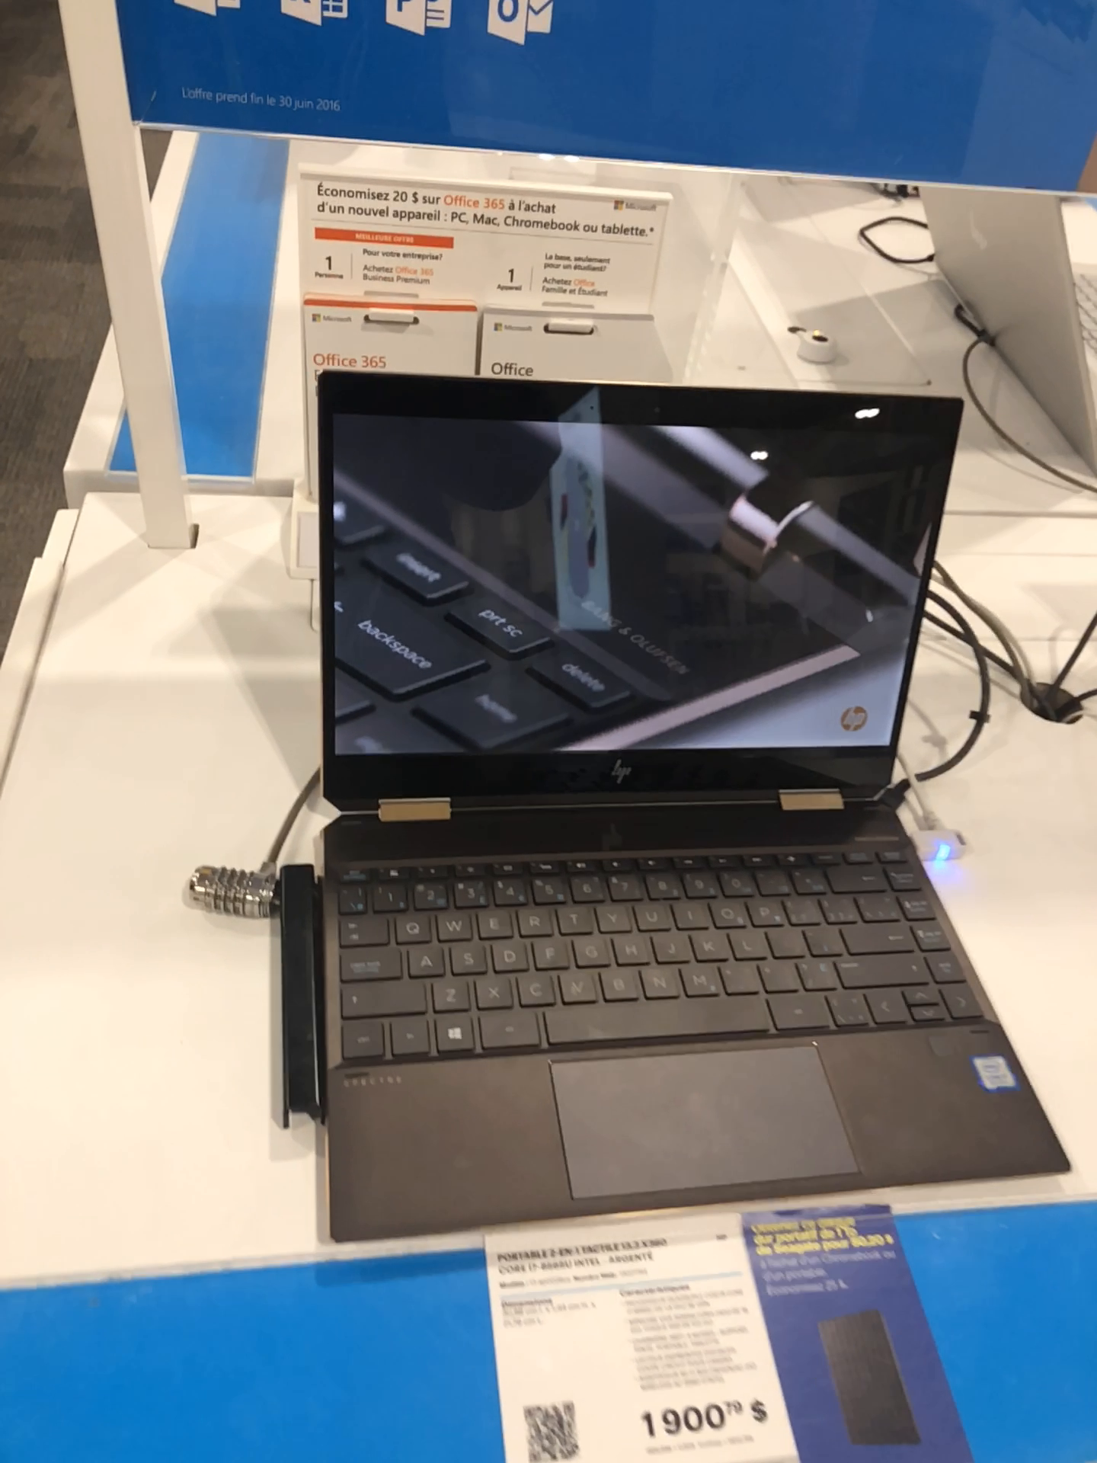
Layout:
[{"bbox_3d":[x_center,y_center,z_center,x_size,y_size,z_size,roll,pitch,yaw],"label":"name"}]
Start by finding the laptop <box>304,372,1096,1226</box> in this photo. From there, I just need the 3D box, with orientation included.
[{"bbox_3d":[0.054,0.015,0.511,0.297,0.197,0.286,-1,42,-11],"label":"laptop"}]
